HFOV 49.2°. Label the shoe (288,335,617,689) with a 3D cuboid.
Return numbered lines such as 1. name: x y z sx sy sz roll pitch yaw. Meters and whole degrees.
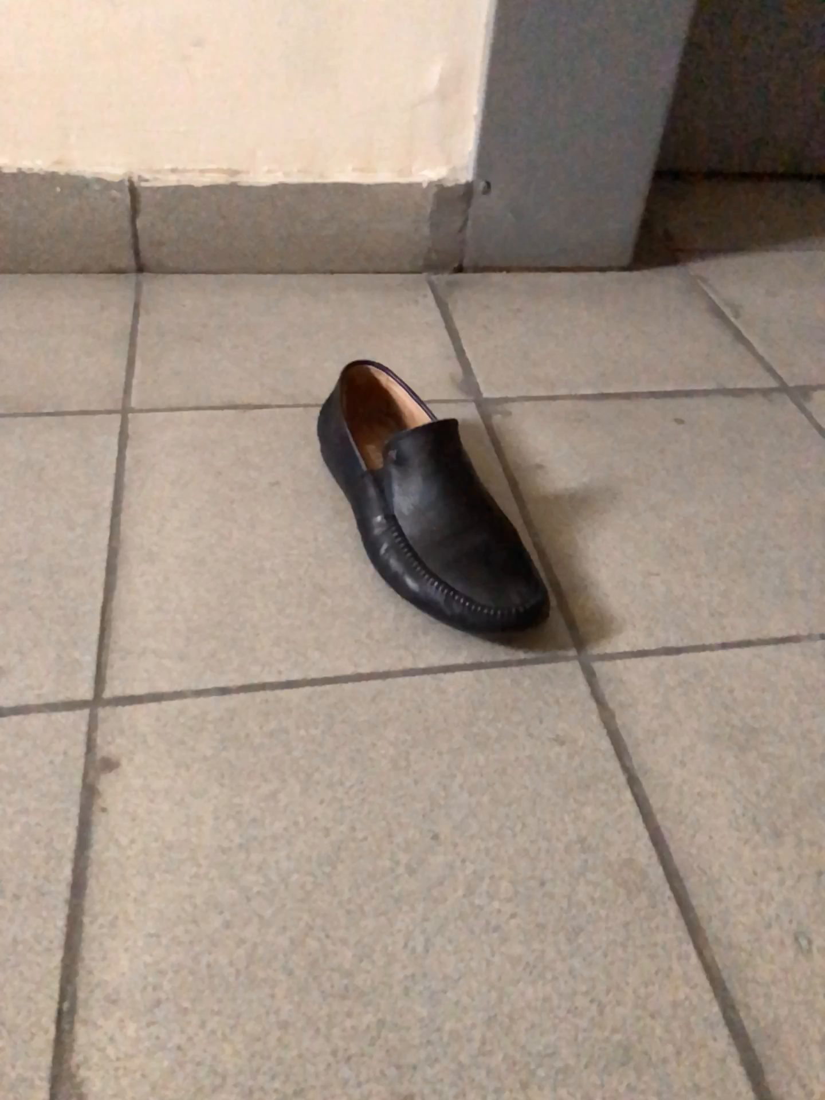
1. shoe: 0.012 -0.042 0.635 0.107 0.079 0.271 -16 46 -22
